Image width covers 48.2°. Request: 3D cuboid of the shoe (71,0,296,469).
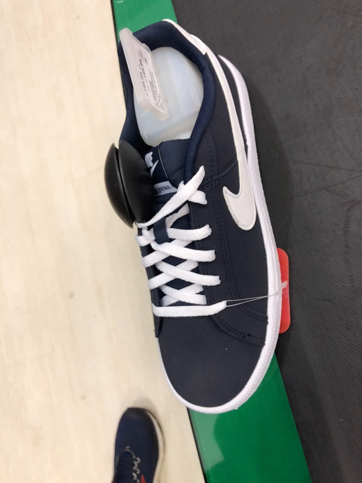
[{"bbox_3d":[0.001,-0.008,0.272,0.110,0.090,0.250,-6,83,29],"label":"shoe"}]
